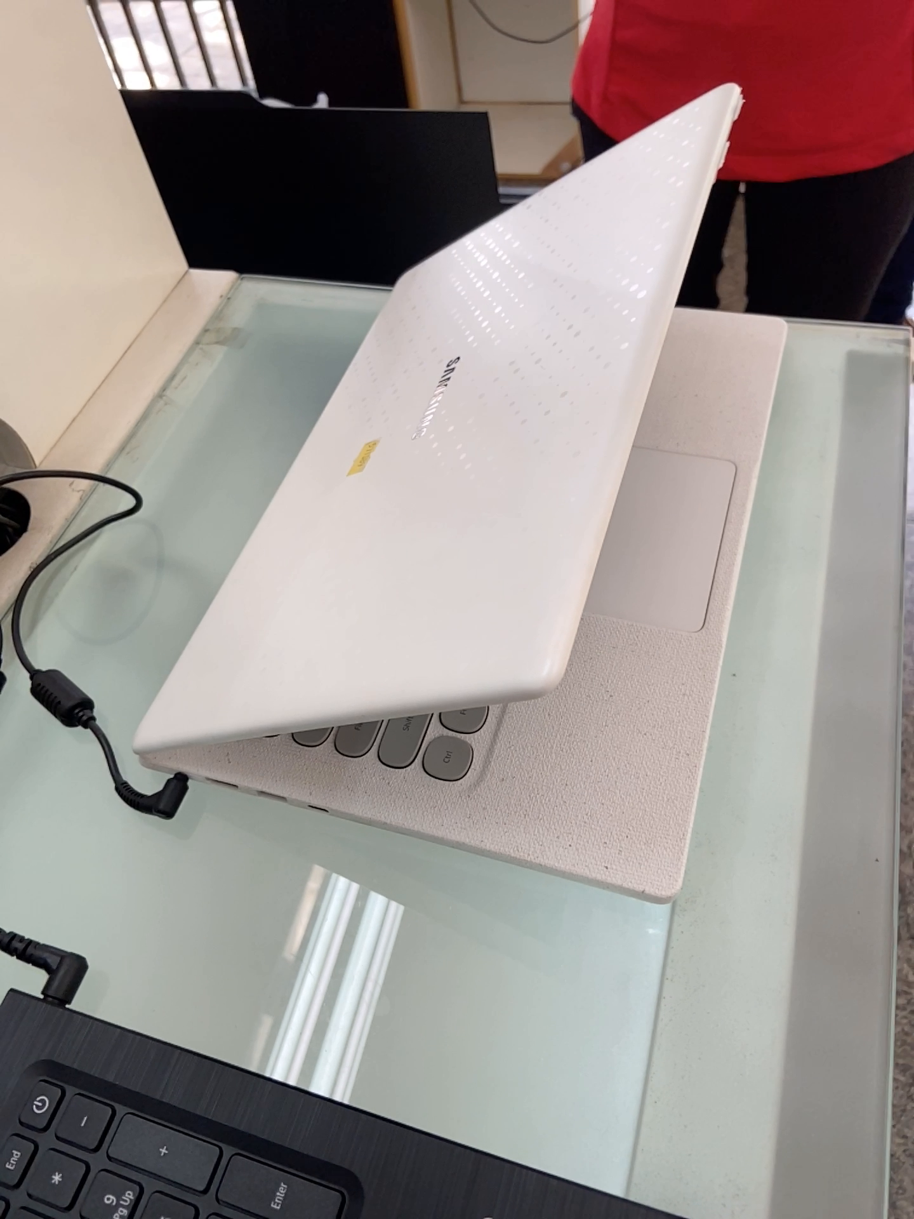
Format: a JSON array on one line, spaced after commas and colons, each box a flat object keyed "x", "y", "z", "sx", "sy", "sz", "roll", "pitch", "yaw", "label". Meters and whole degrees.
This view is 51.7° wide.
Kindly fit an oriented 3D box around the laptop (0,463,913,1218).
[{"x": -0.178, "y": 0.225, "z": 0.112, "sx": 0.373, "sy": 0.213, "sz": 0.402, "roll": 11, "pitch": 55, "yaw": 17, "label": "laptop"}]

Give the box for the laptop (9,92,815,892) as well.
[{"x": 0.015, "y": -0.079, "z": 0.388, "sx": 0.206, "sy": 0.108, "sz": 0.313, "roll": 11, "pitch": 55, "yaw": 16, "label": "laptop"}]
